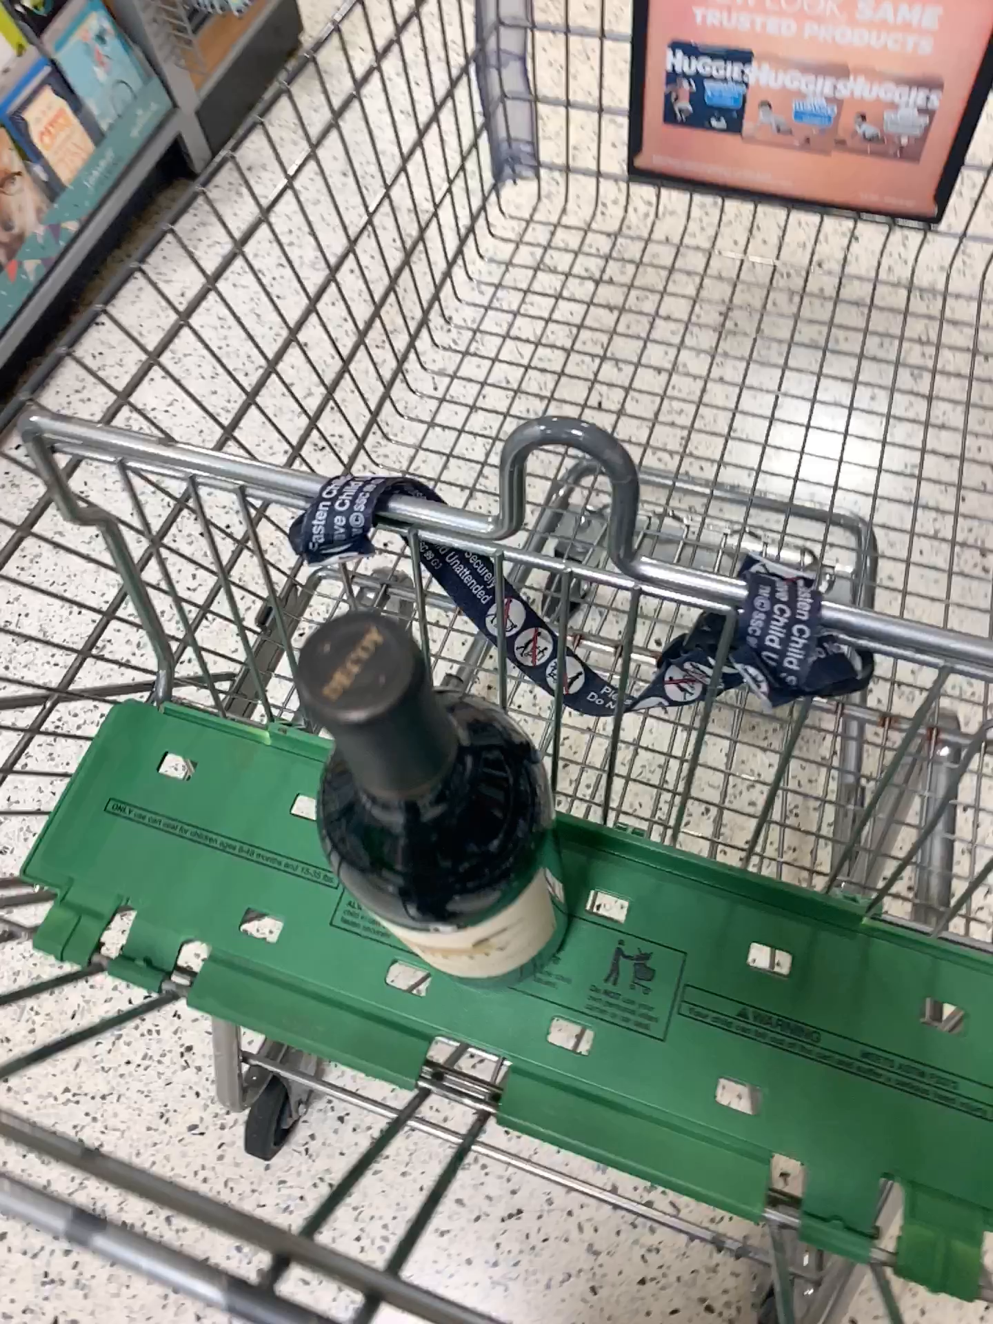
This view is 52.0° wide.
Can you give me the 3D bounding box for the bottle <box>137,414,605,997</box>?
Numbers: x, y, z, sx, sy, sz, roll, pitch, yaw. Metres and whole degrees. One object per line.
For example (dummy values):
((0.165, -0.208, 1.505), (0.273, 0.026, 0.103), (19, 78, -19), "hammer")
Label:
((-0.011, 0.047, 0.360), (0.090, 0.298, 0.091), (-2, 64, 5), "bottle")
